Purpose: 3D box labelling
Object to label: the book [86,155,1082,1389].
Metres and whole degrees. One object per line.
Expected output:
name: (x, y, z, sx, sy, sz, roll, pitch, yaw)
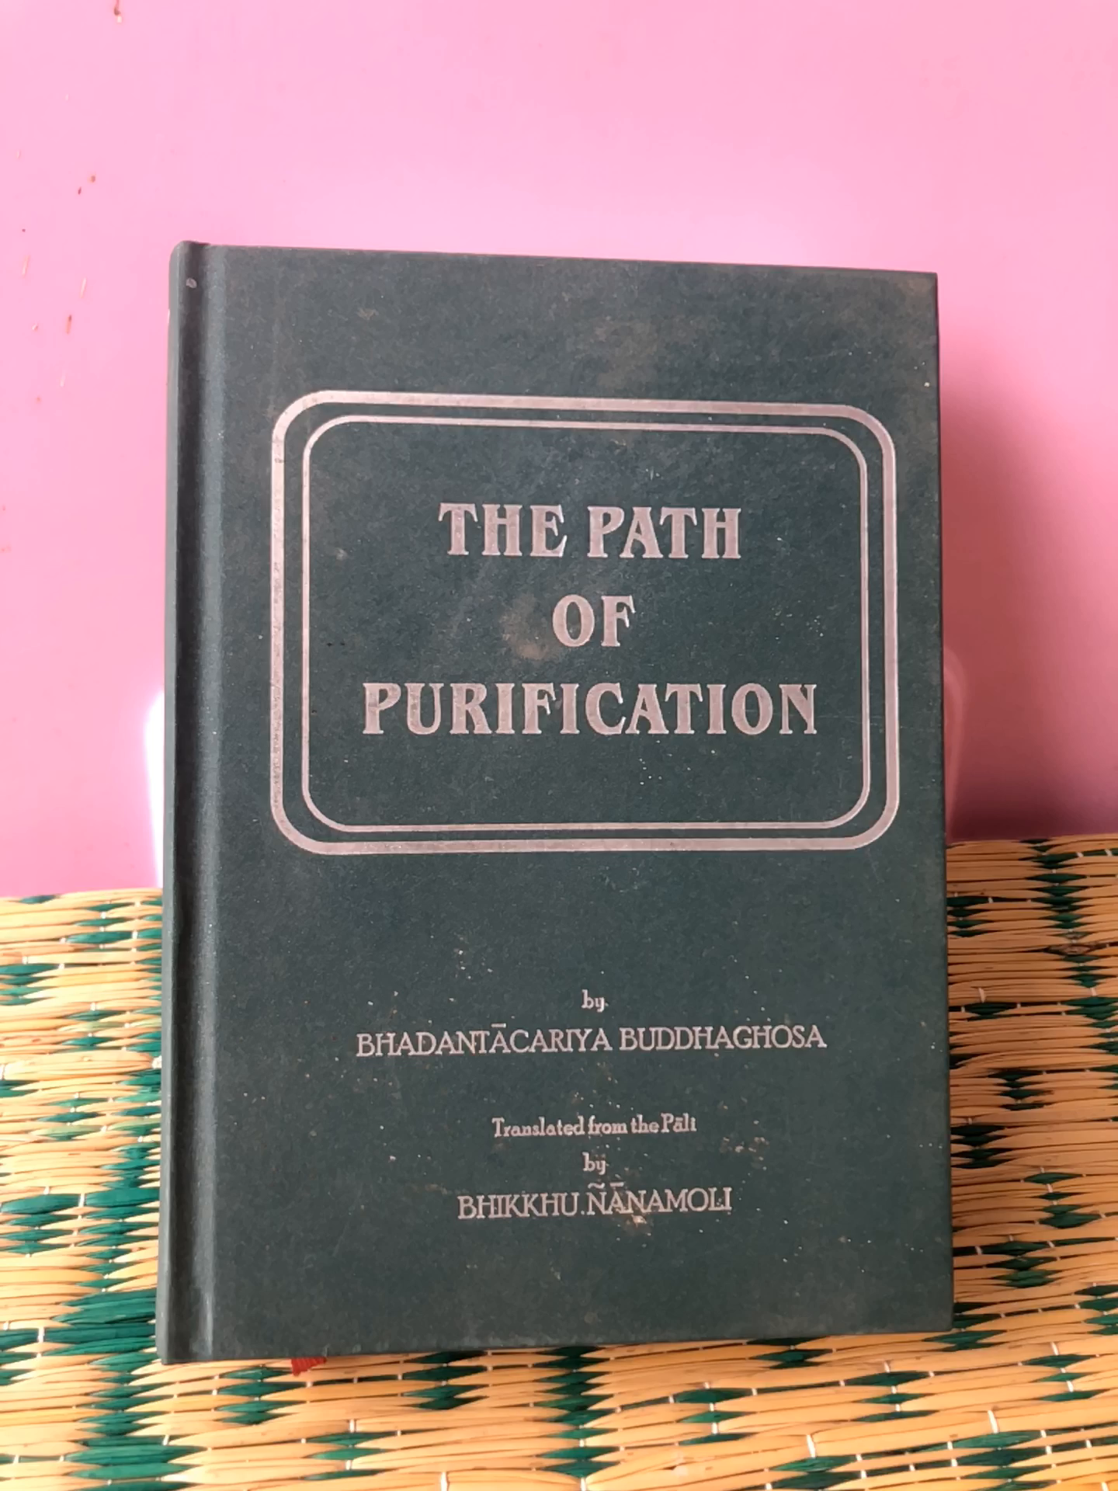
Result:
book: (0.003, 0.002, 0.254, 0.160, 0.080, 0.210, 0, 82, -3)
